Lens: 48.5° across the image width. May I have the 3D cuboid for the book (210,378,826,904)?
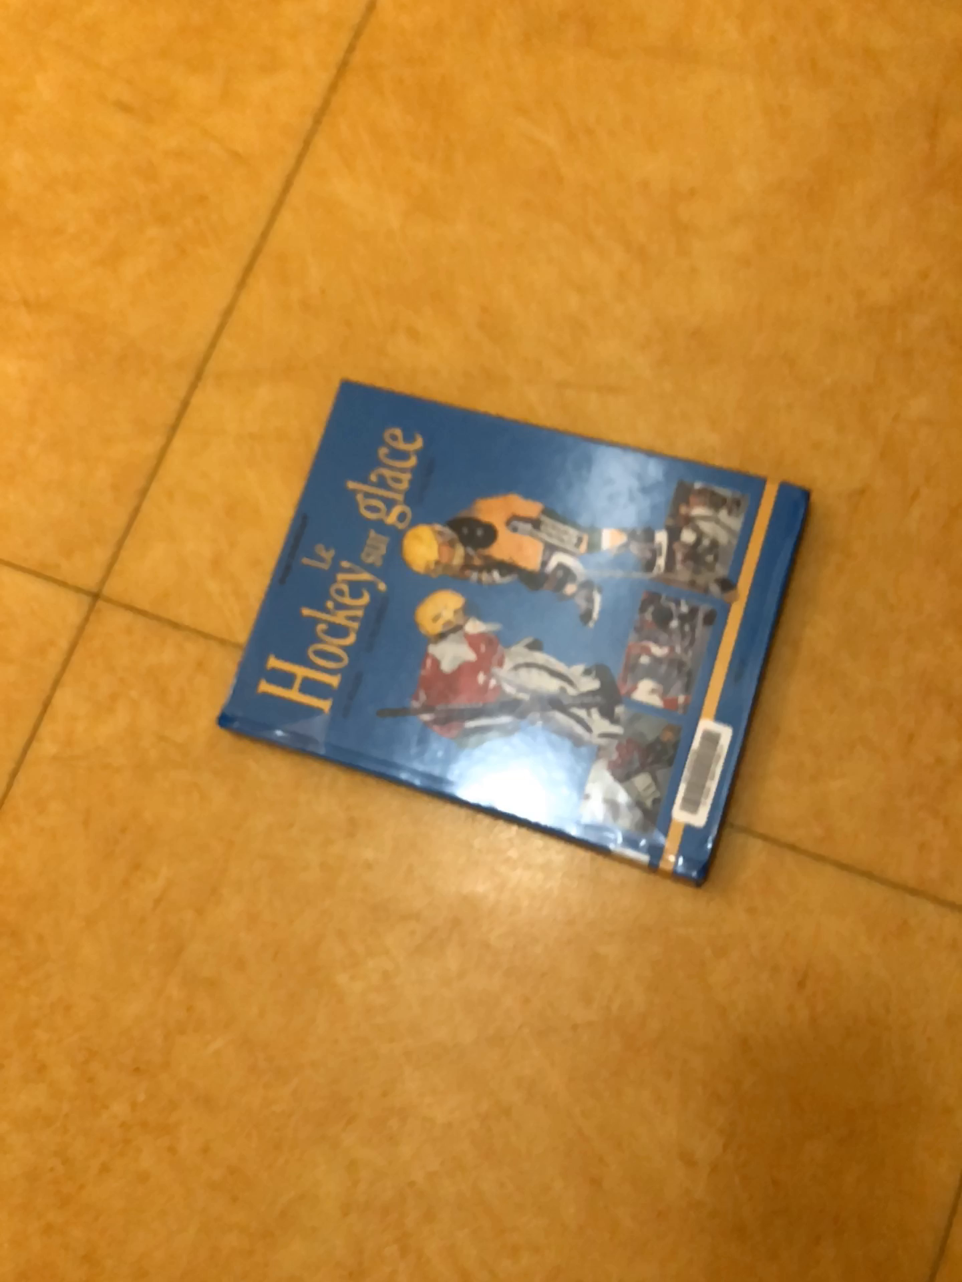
[{"bbox_3d":[0.018,-0.009,0.545,0.260,0.020,0.210,15,78,12],"label":"book"}]
